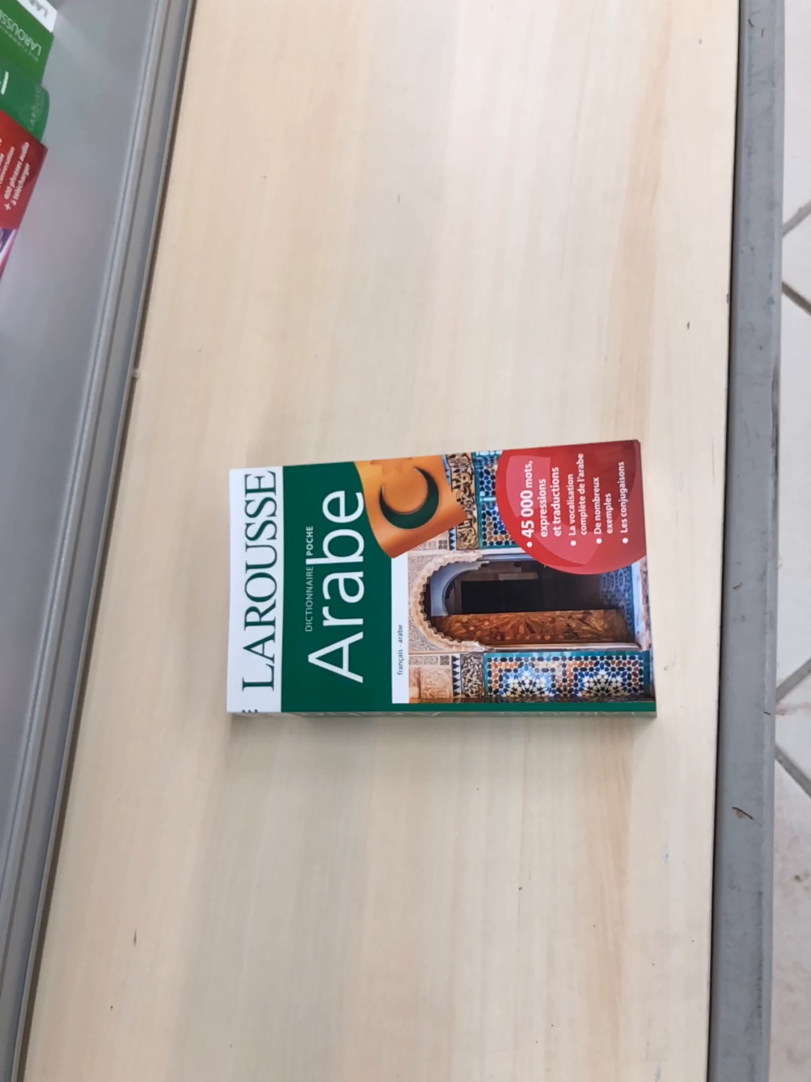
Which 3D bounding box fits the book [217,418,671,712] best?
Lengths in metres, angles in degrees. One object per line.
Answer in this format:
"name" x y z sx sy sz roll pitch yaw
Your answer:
"book" 0.017 0.014 0.385 0.182 0.046 0.111 -2 74 16
